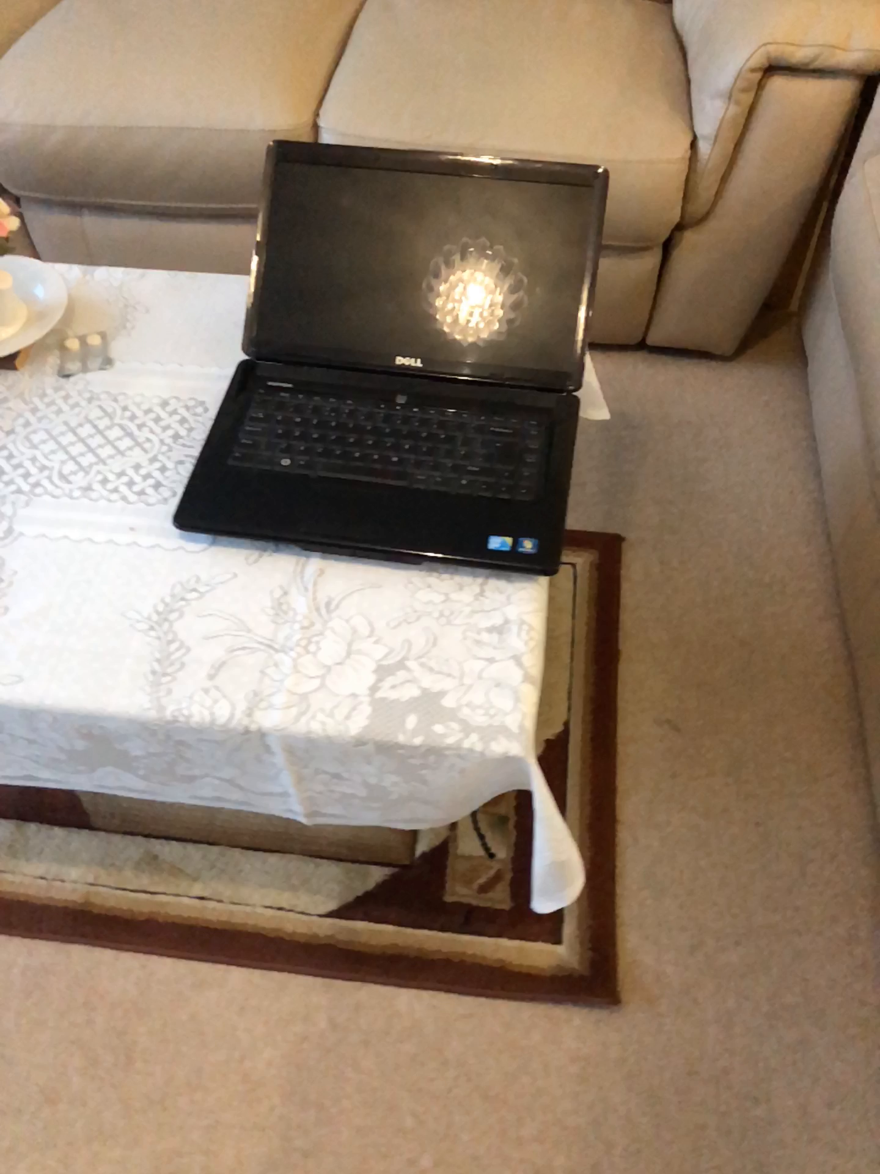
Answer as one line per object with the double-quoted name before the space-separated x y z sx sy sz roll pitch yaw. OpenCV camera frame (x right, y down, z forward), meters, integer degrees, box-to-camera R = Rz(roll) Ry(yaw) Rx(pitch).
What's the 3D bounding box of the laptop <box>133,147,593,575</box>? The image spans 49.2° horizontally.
"laptop" -0.049 -0.244 0.959 0.363 0.122 0.420 7 57 6
